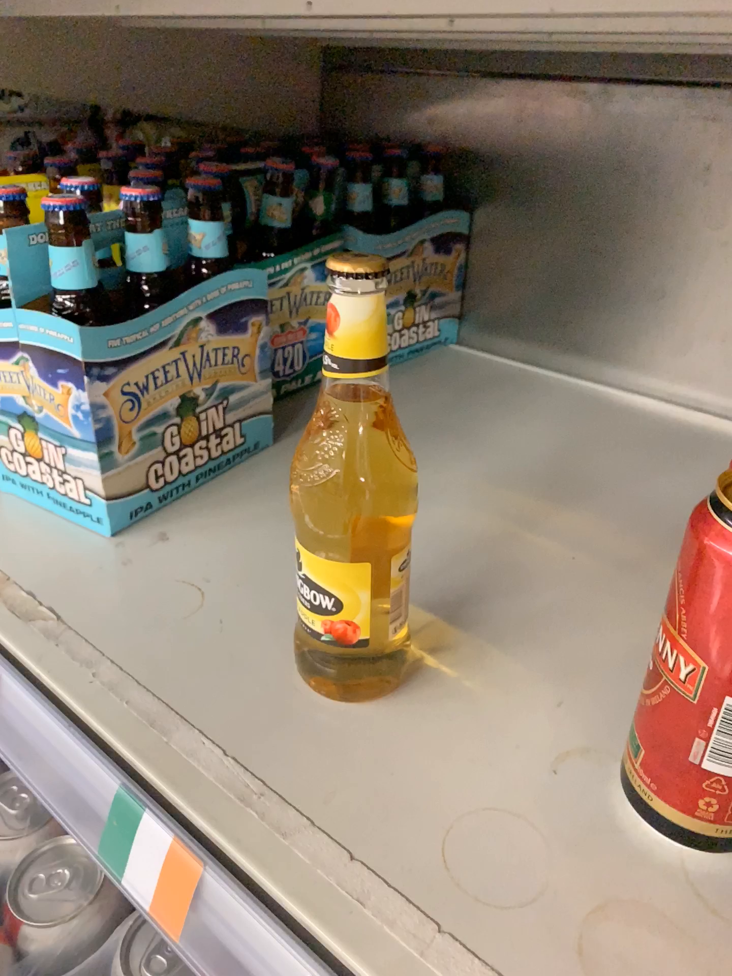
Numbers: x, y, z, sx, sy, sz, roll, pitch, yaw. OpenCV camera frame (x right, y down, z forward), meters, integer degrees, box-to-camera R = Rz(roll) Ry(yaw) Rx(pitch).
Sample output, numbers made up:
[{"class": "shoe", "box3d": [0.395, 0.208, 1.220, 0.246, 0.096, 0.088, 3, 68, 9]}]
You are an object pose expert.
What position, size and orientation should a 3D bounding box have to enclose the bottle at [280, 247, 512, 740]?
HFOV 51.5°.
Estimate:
[{"class": "bottle", "box3d": [0.004, 0.006, 0.395, 0.080, 0.239, 0.080, 3, 28, -2]}]
